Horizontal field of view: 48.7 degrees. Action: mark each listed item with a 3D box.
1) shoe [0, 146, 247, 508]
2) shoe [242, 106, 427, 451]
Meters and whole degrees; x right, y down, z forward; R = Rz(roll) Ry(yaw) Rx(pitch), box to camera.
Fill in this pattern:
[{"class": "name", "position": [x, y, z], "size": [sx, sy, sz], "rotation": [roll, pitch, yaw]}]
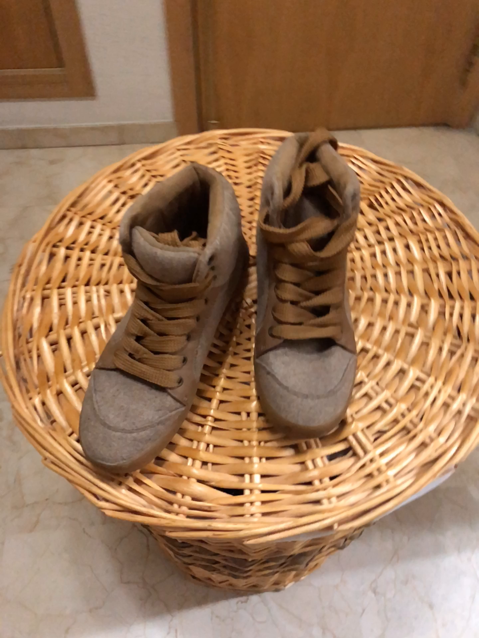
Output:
[{"class": "shoe", "position": [-0.072, 0.005, 0.450], "size": [0.079, 0.178, 0.239], "rotation": [16, 54, 11]}, {"class": "shoe", "position": [0.056, -0.037, 0.449], "size": [0.095, 0.168, 0.239], "rotation": [-1, 53, -2]}]
